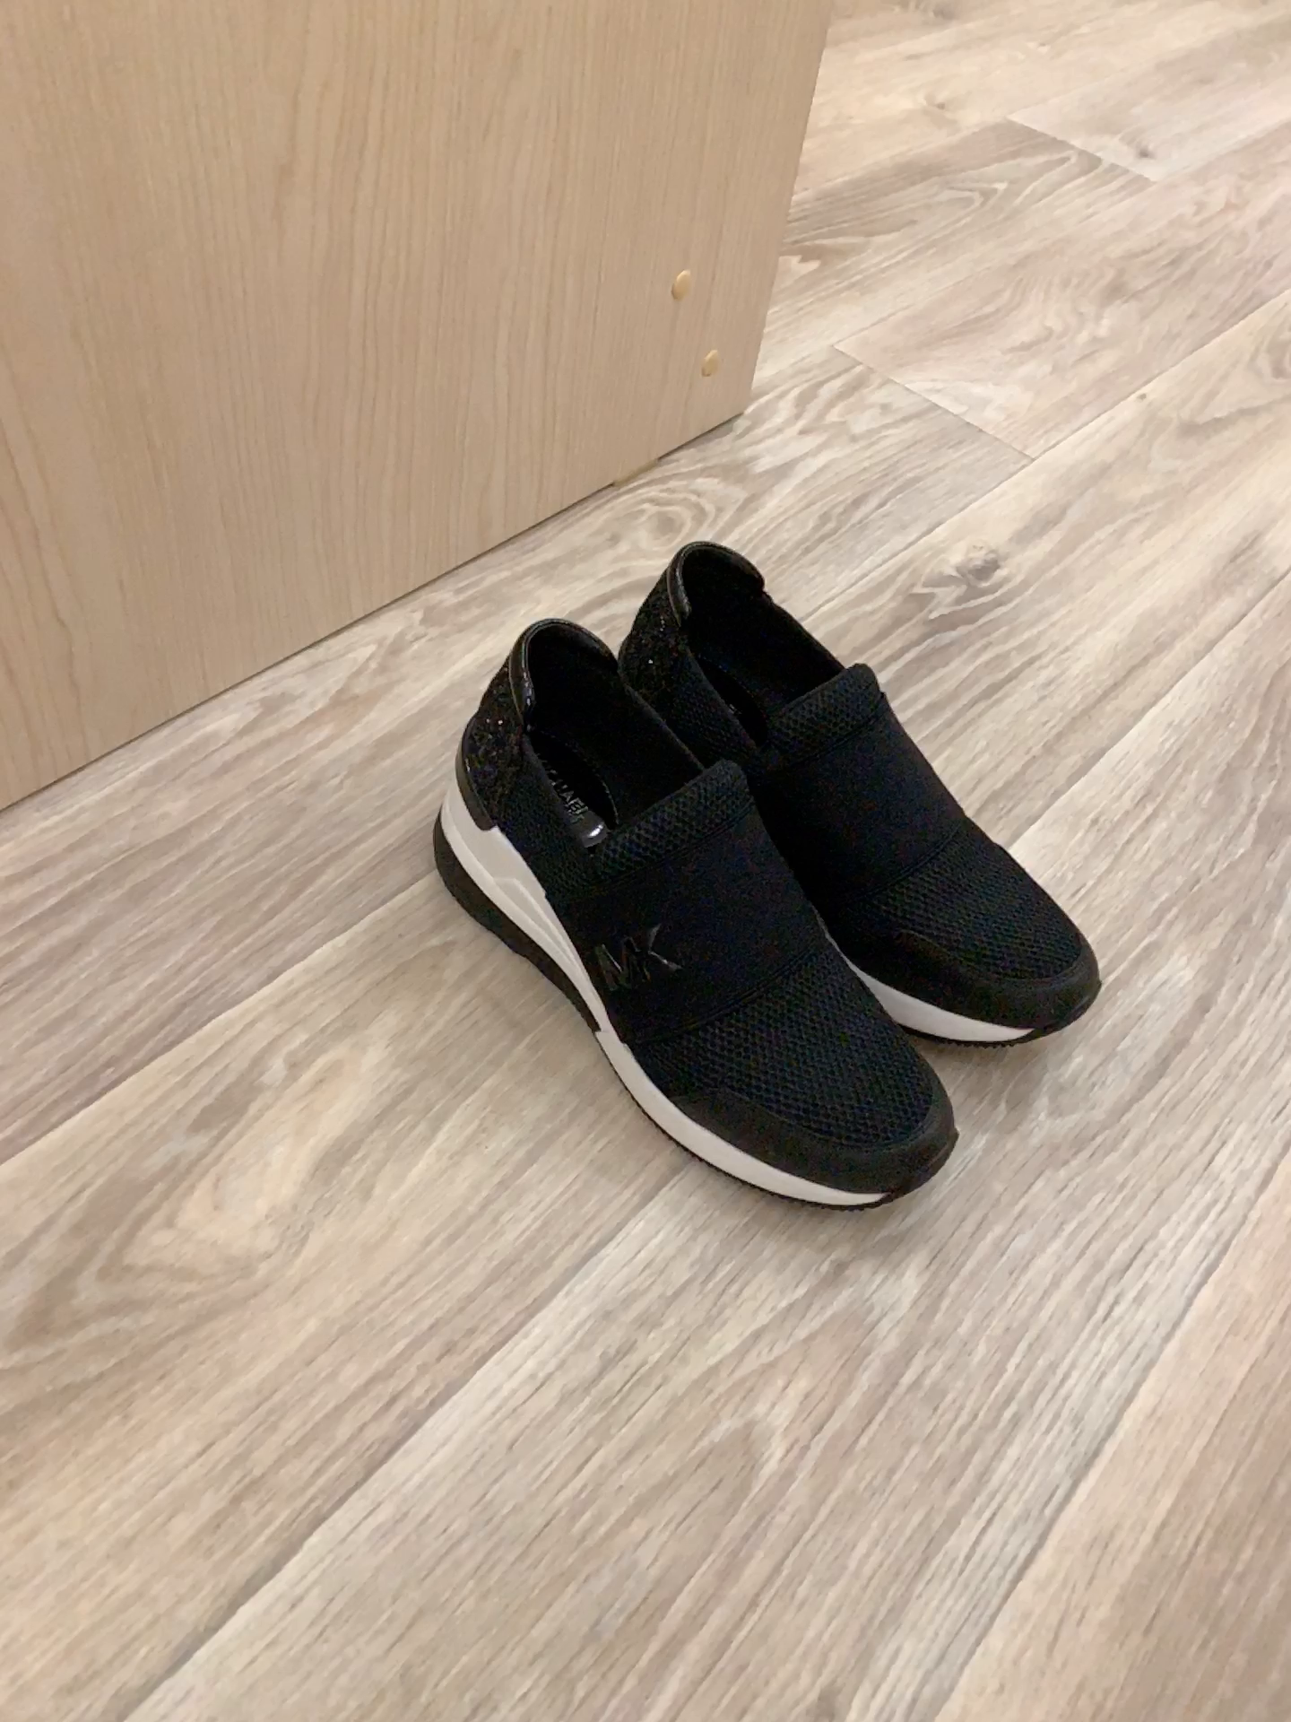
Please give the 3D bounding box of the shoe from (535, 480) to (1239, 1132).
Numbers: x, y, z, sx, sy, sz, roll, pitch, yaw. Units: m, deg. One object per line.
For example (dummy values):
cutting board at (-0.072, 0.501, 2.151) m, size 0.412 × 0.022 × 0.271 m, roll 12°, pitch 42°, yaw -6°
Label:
shoe at (0.084, -0.030, 0.555) m, size 0.260 × 0.119 × 0.099 m, roll 38°, pitch 54°, yaw 22°

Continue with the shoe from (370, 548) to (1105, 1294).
shoe at (0.017, 0.014, 0.502) m, size 0.099 × 0.119 × 0.261 m, roll -34°, pitch 62°, yaw -32°
